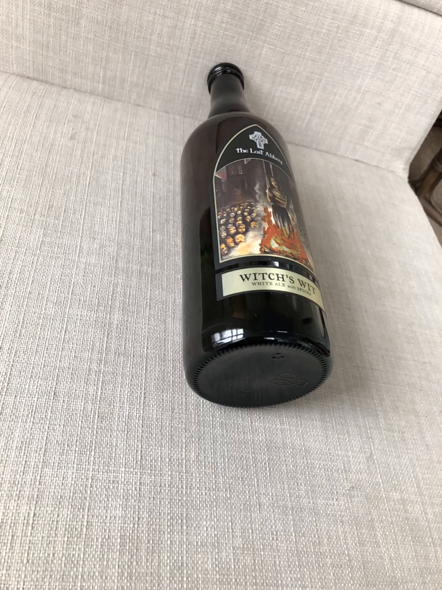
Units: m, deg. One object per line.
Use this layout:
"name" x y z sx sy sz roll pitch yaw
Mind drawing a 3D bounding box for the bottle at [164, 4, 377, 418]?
"bottle" 0.014 -0.072 0.324 0.080 0.079 0.282 9 53 -17
